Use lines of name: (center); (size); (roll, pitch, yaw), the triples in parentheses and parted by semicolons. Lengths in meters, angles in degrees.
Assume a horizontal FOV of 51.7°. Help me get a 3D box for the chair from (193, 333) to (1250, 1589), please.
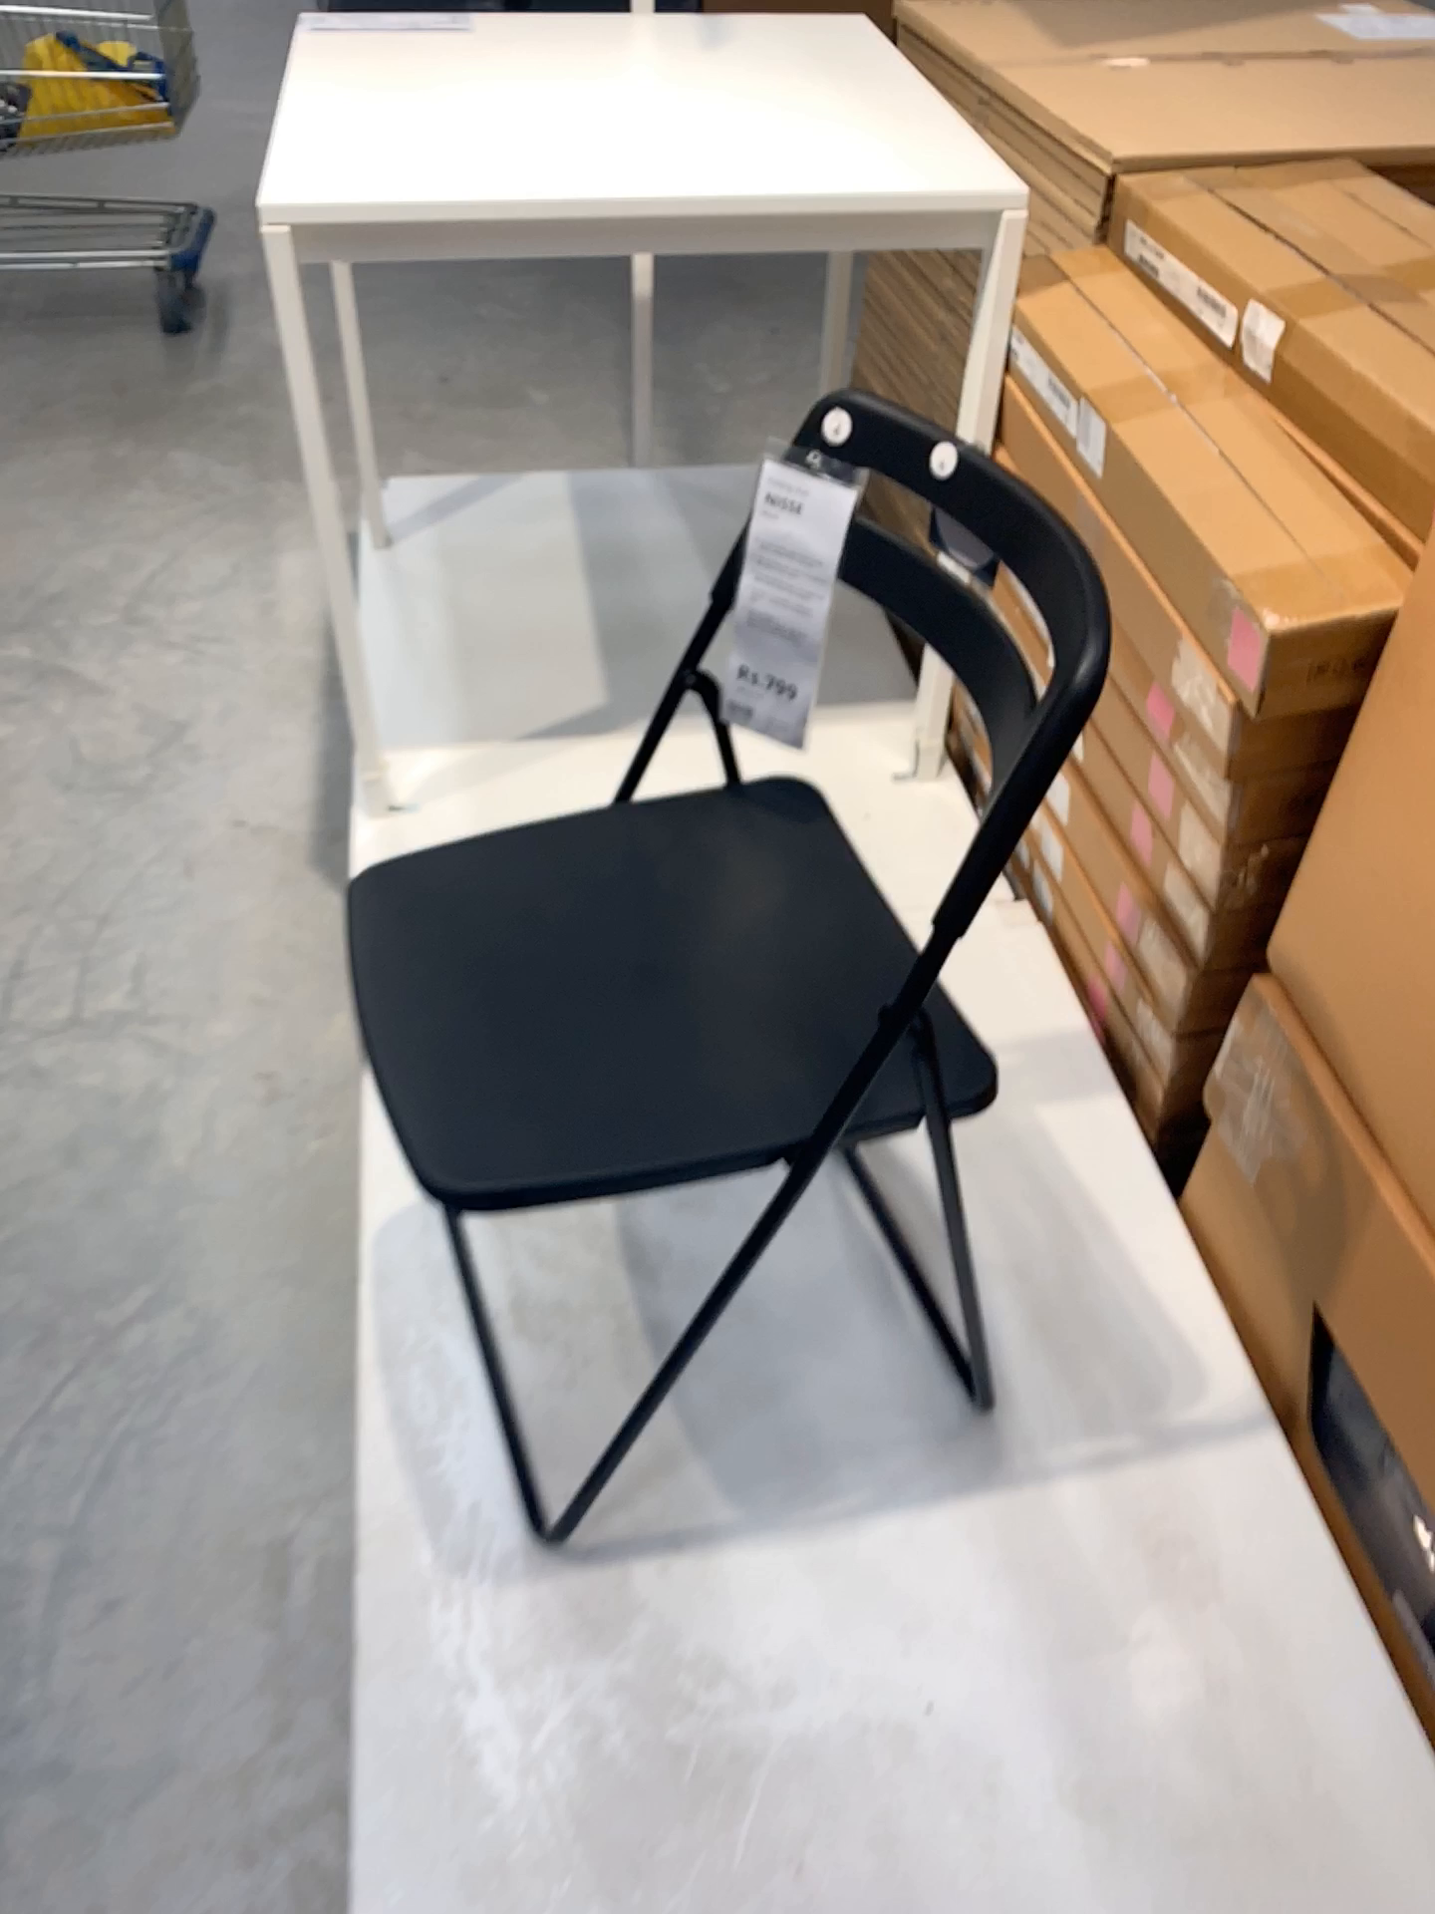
chair: (-0.042, 0.007, 1.031); (0.450, 0.657, 0.462); (-12, 45, -15)
